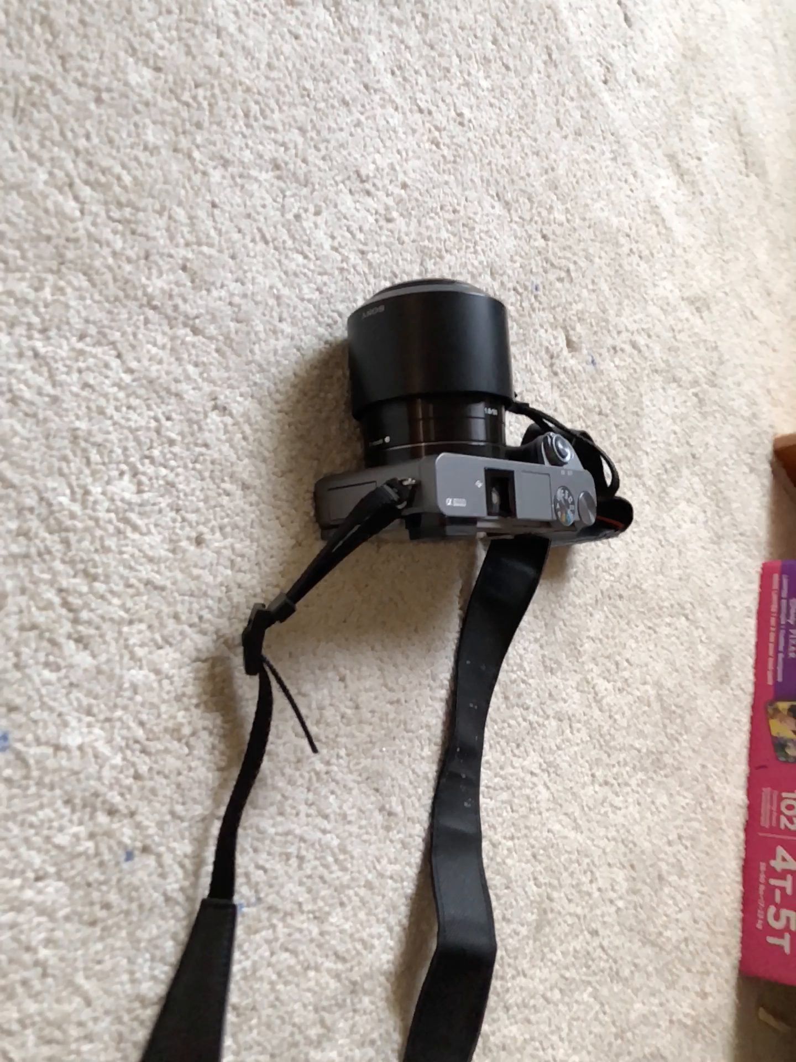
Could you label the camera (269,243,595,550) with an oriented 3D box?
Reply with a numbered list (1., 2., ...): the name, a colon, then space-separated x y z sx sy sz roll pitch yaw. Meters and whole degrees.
1. camera: 0.018 -0.045 0.367 0.121 0.070 0.100 1 84 -50
